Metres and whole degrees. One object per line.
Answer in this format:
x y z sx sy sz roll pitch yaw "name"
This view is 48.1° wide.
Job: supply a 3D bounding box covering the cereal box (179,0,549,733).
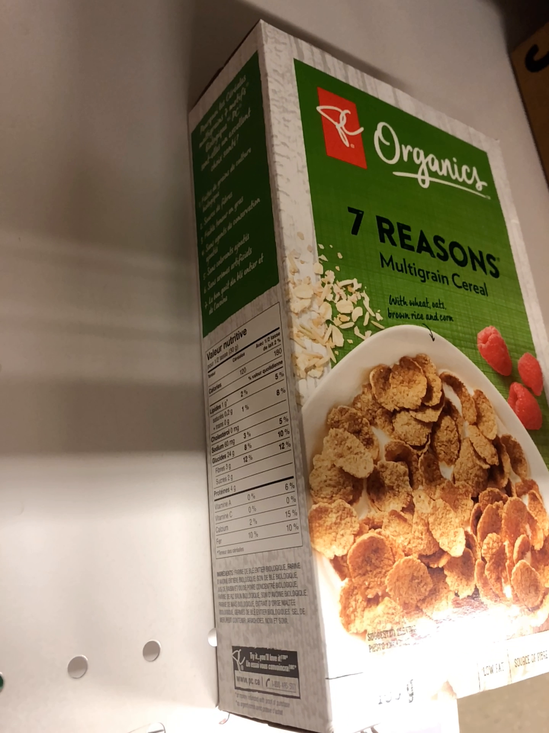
0.059 -0.002 0.264 0.181 0.060 0.260 8 67 -34 "cereal box"
